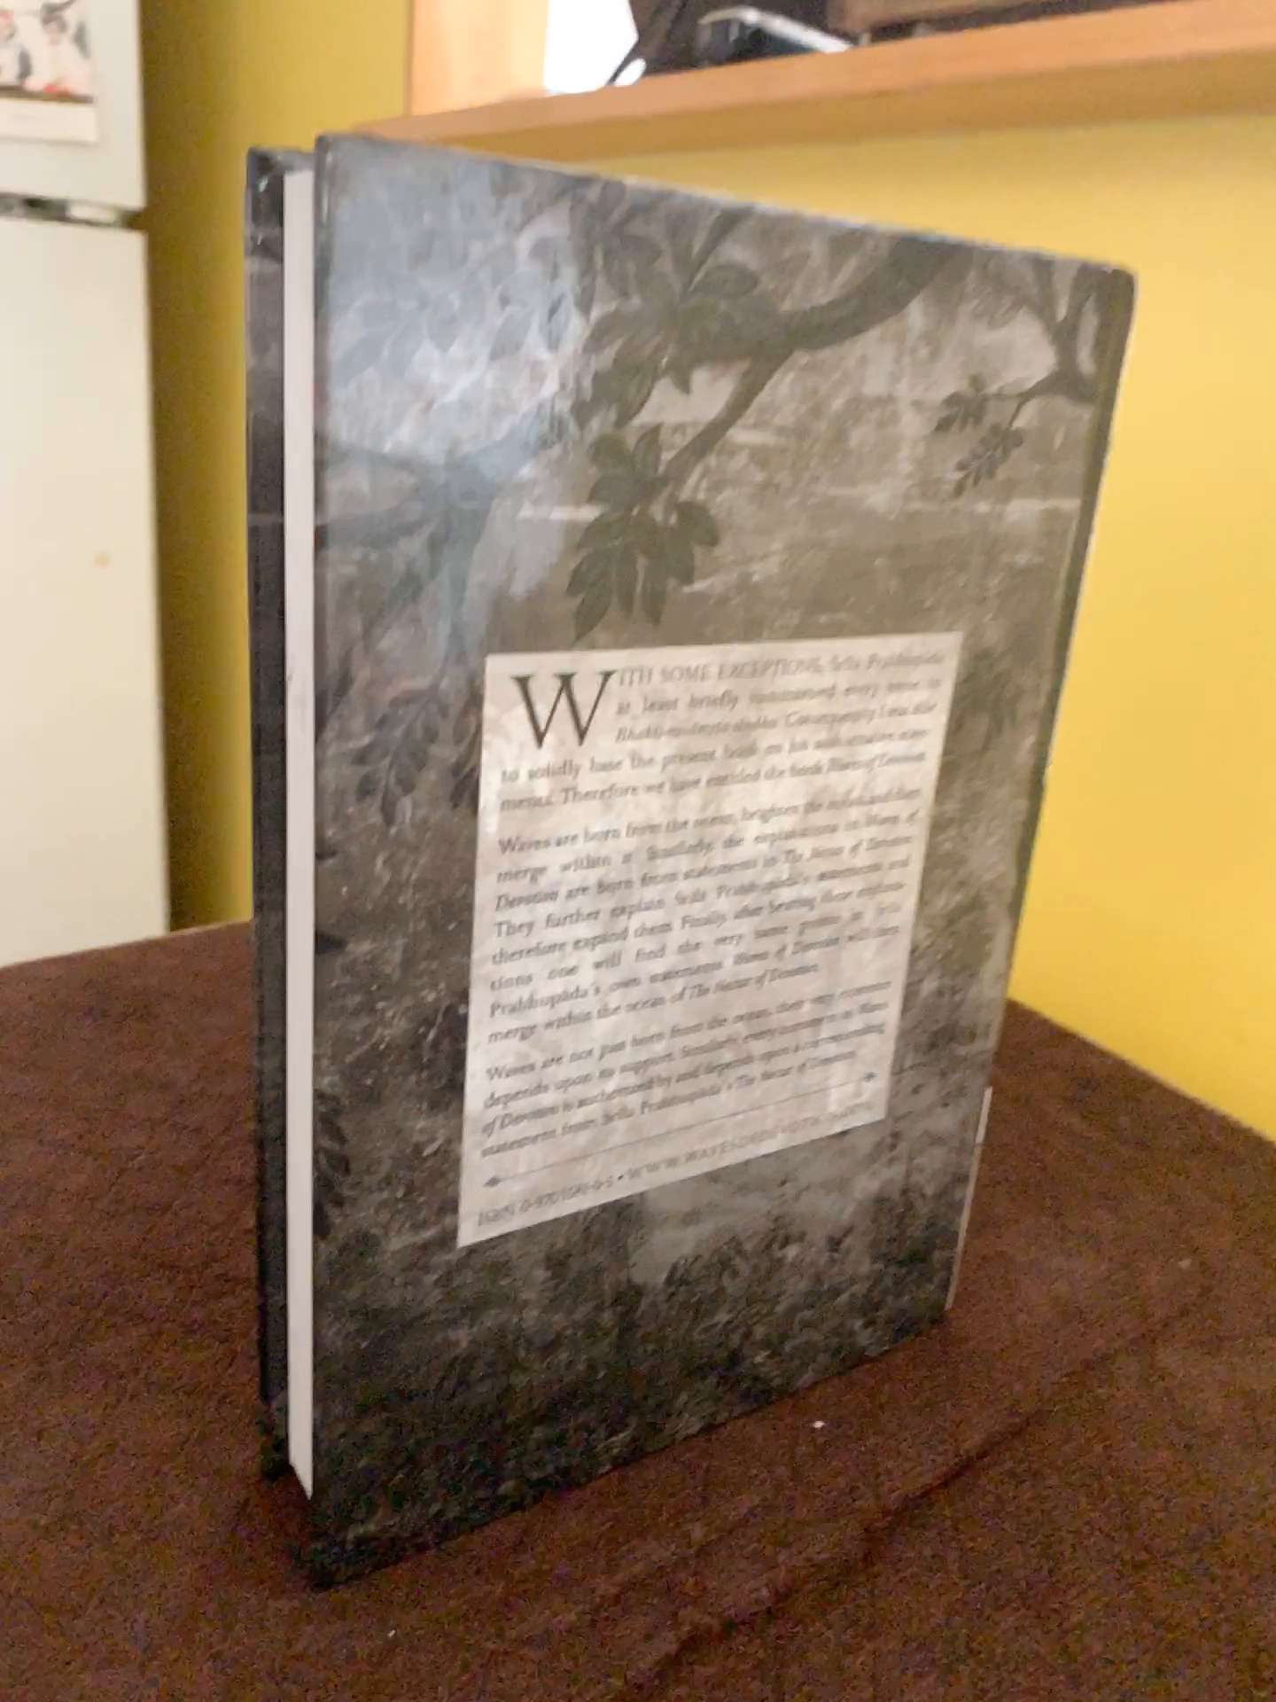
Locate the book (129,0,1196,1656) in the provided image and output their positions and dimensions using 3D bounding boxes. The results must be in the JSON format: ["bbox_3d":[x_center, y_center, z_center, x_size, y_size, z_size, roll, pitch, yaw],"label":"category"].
[{"bbox_3d":[0.003,0.005,0.230,0.160,0.229,0.040,-5,20,-30],"label":"book"}]
